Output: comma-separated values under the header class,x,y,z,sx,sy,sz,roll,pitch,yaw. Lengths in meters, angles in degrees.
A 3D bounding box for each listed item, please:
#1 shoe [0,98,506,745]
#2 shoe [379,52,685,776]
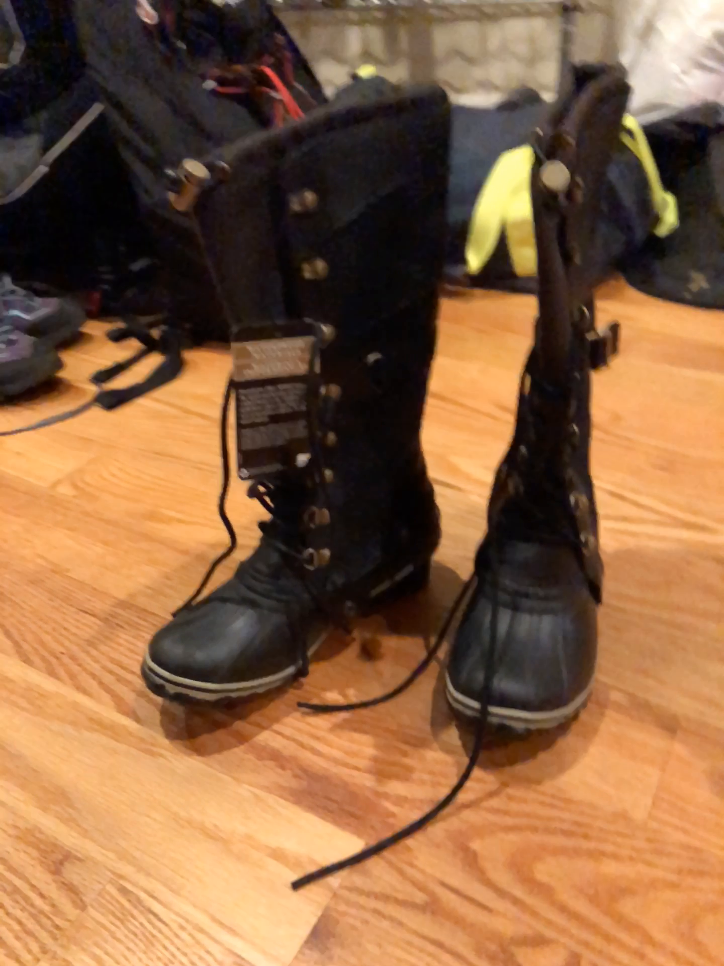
class,x,y,z,sx,sy,sz,roll,pitch,yaw
shoe,-0.040,-0.046,0.493,0.261,0.308,0.100,-29,40,-34
shoe,0.107,-0.052,0.471,0.100,0.328,0.261,9,35,18
